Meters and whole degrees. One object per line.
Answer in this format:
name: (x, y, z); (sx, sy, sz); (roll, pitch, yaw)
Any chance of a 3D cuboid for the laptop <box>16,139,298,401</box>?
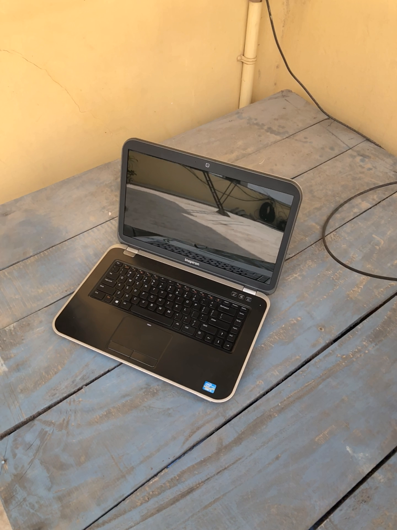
laptop: (-0.054, -0.013, 0.799); (0.352, 0.209, 0.334); (18, 52, 17)
